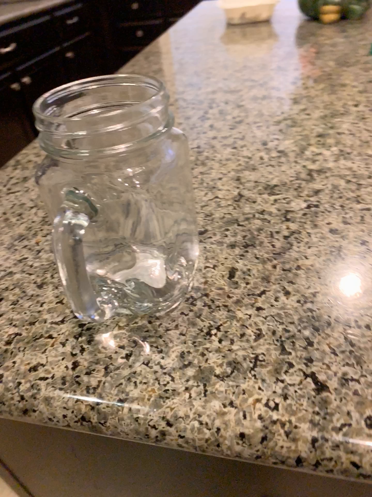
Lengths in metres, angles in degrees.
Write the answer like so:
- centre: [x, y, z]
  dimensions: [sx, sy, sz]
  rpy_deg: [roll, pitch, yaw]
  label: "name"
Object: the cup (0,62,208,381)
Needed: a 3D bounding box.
- centre: [-0.044, -0.021, 0.213]
  dimensions: [0.080, 0.119, 0.121]
  rpy_deg: [5, 40, 16]
  label: "cup"
